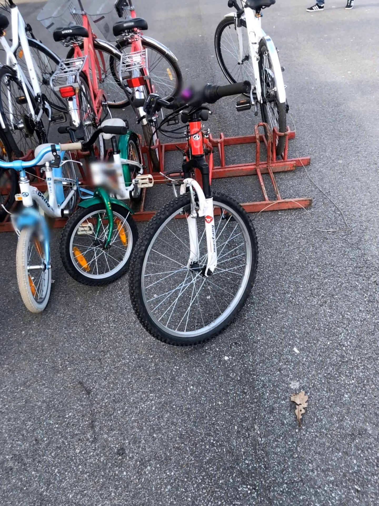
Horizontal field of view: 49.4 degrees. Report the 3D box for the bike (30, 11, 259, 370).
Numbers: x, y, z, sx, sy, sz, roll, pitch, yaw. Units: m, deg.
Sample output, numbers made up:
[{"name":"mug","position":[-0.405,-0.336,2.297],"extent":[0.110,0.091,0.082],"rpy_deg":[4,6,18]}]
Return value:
[{"name":"bike","position":[-0.006,-0.392,1.837],"extent":[0.551,0.907,1.452],"rpy_deg":[3,40,8]}]
